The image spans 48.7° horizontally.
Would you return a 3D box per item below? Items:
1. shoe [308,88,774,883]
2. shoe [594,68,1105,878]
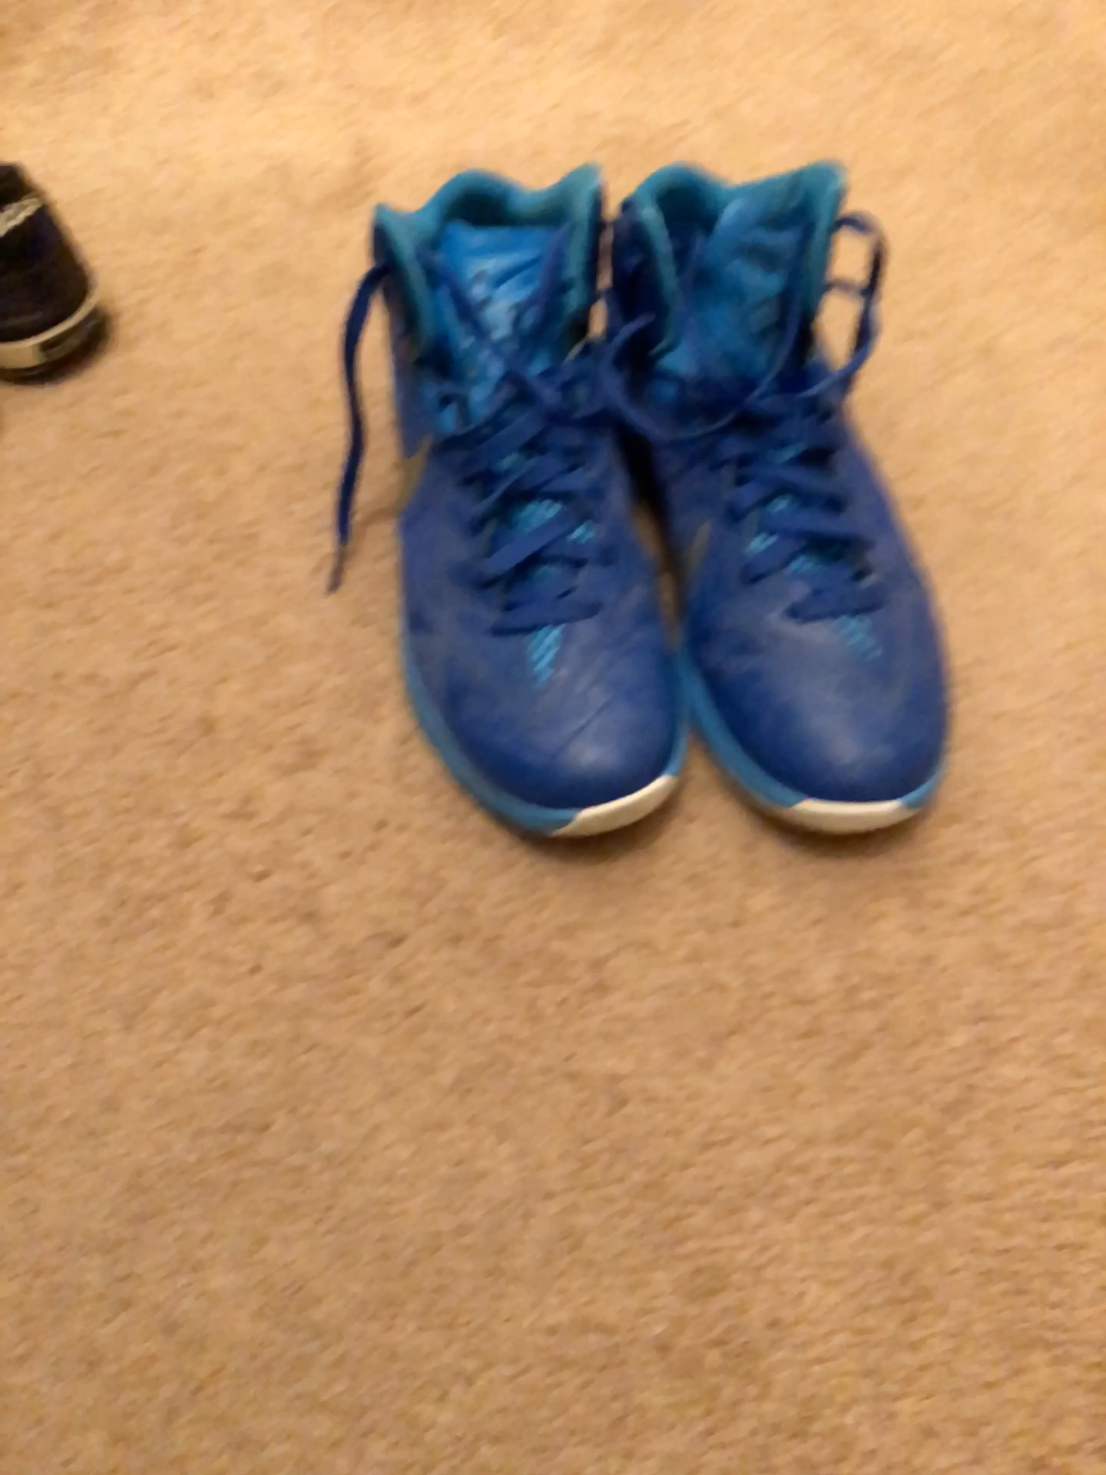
[{"bbox_3d":[-0.014,-0.106,0.486,0.120,0.134,0.279,-10,59,-3],"label":"shoe"},{"bbox_3d":[0.107,-0.110,0.481,0.122,0.134,0.281,-11,59,-4],"label":"shoe"}]
